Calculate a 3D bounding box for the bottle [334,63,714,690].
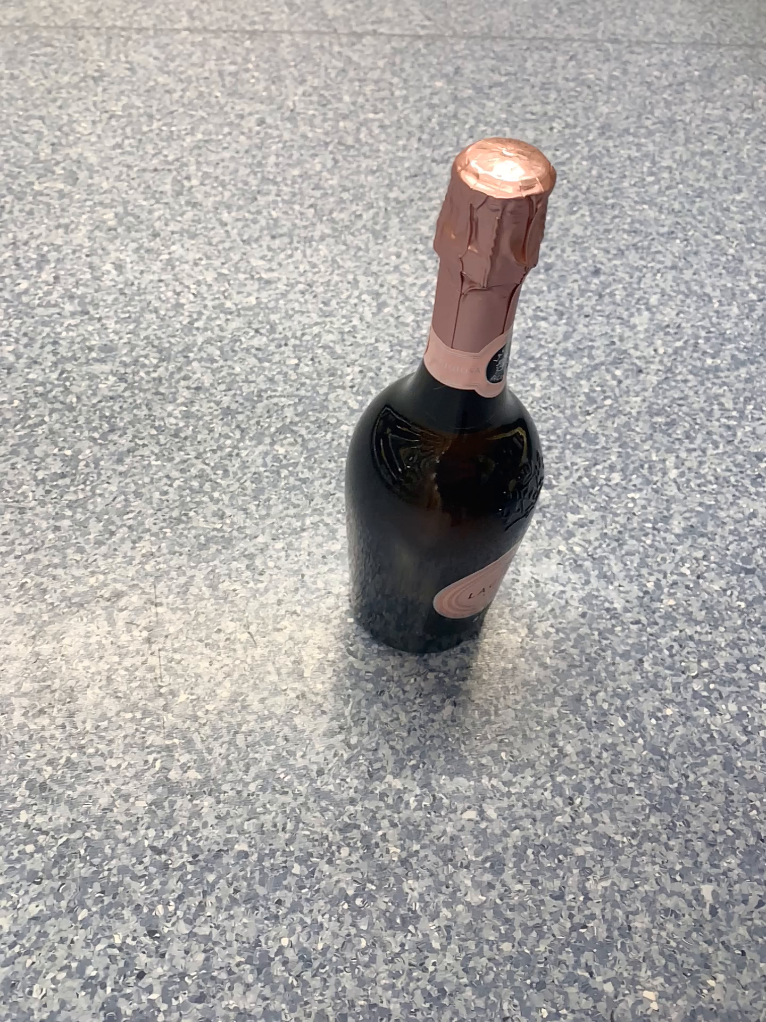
[{"bbox_3d":[0.039,-0.031,0.353,0.079,0.269,0.094,33,59,18],"label":"bottle"}]
